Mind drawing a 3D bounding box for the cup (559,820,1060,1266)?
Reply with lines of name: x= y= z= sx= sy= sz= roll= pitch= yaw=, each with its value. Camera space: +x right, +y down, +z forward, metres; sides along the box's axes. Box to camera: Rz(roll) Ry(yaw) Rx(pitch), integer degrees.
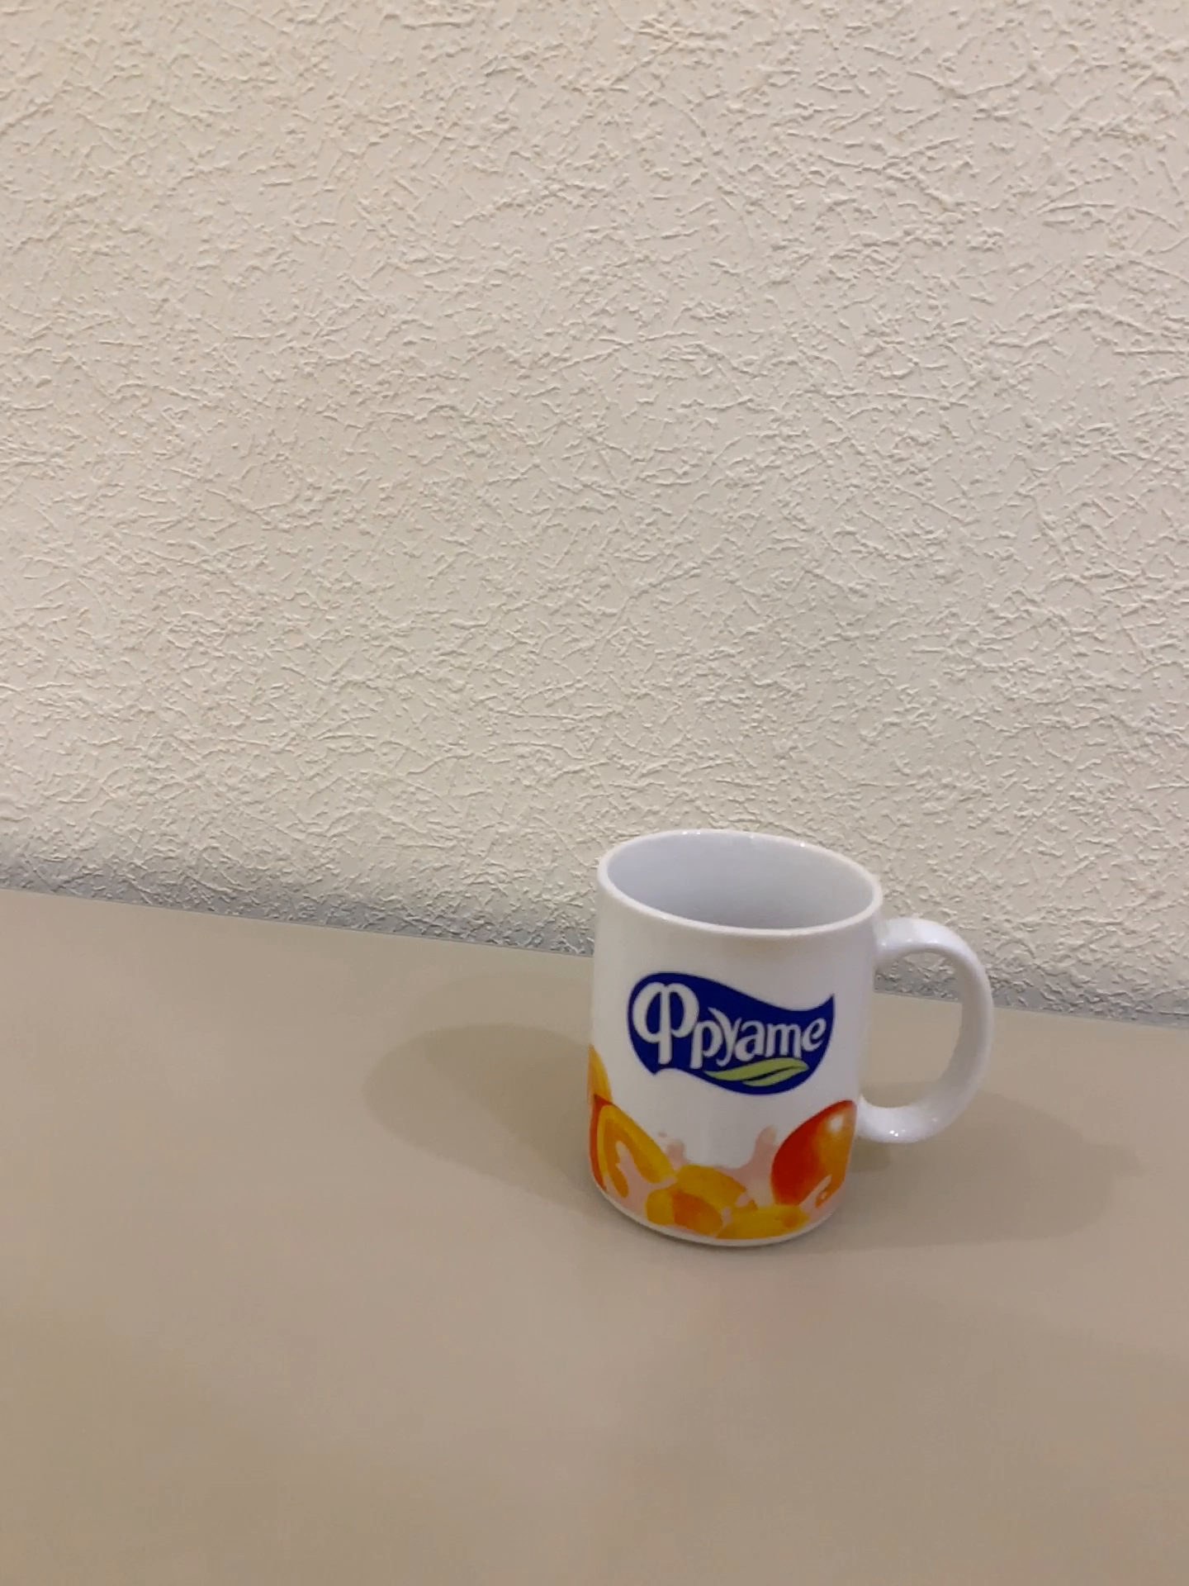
cup: x=0.051 y=0.066 z=0.345 sx=0.116 sy=0.092 sz=0.081 roll=2 pitch=17 yaw=-3
